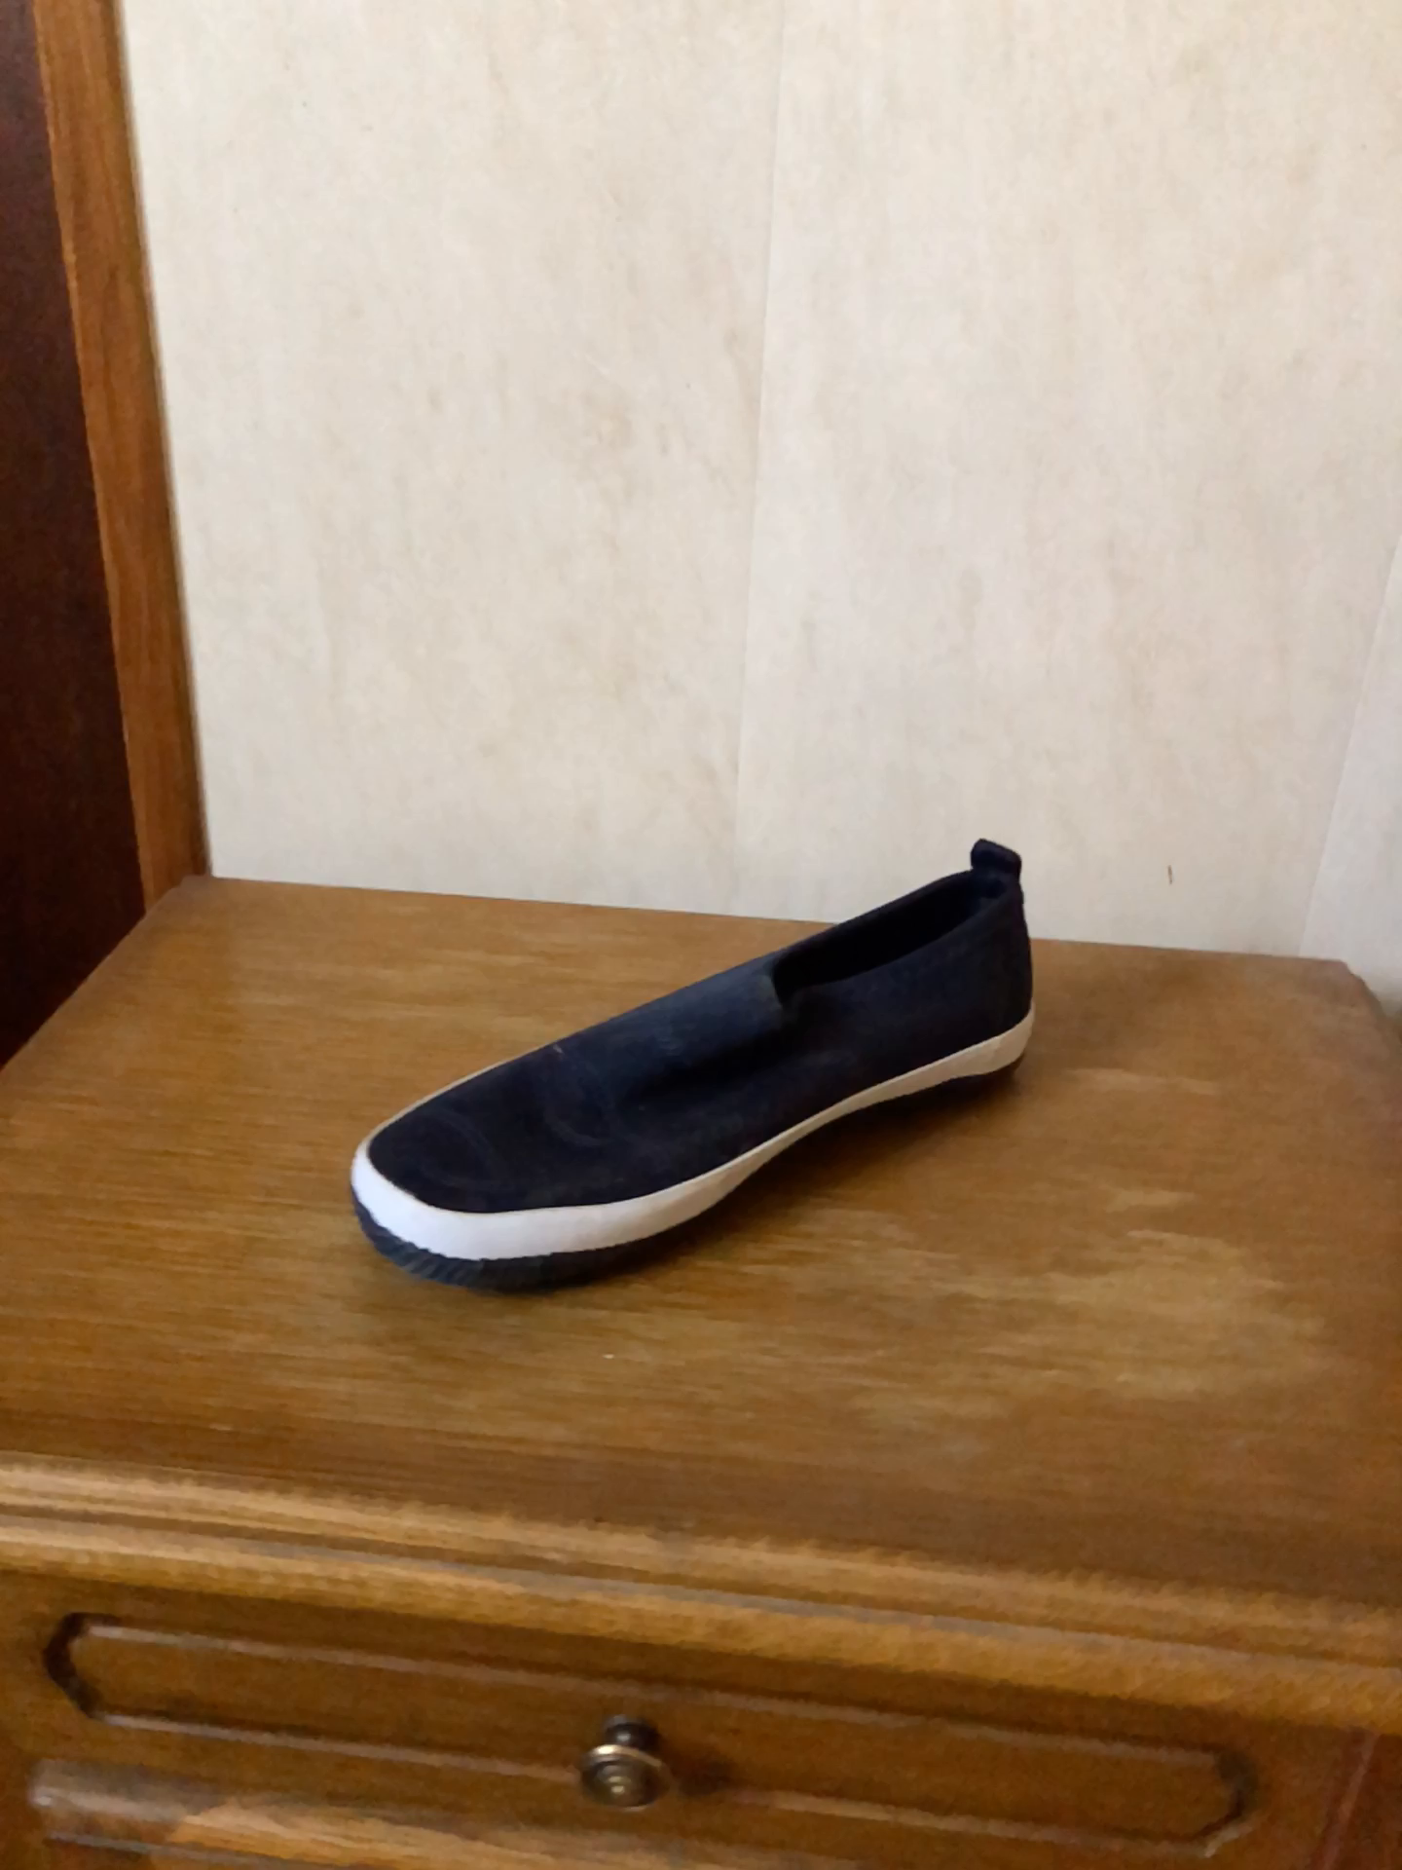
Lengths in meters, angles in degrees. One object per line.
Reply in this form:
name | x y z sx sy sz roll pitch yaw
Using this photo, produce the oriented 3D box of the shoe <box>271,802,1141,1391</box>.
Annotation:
shoe | 0.009 0.036 0.498 0.261 0.080 0.100 -16 32 -32
